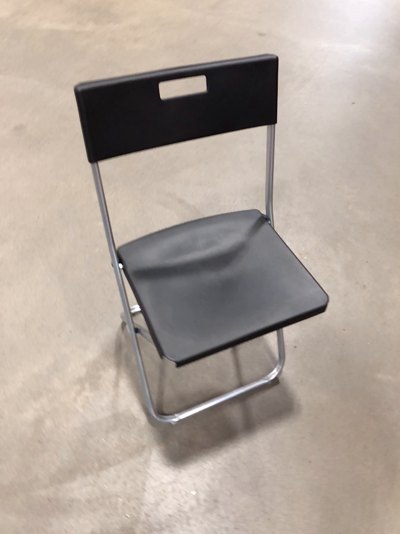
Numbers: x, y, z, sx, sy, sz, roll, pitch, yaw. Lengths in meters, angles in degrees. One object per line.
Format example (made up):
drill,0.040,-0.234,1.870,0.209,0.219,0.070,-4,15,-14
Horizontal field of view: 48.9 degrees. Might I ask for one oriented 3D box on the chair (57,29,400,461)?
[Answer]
chair,0.038,0.001,0.962,0.460,0.758,0.461,-16,55,-18
